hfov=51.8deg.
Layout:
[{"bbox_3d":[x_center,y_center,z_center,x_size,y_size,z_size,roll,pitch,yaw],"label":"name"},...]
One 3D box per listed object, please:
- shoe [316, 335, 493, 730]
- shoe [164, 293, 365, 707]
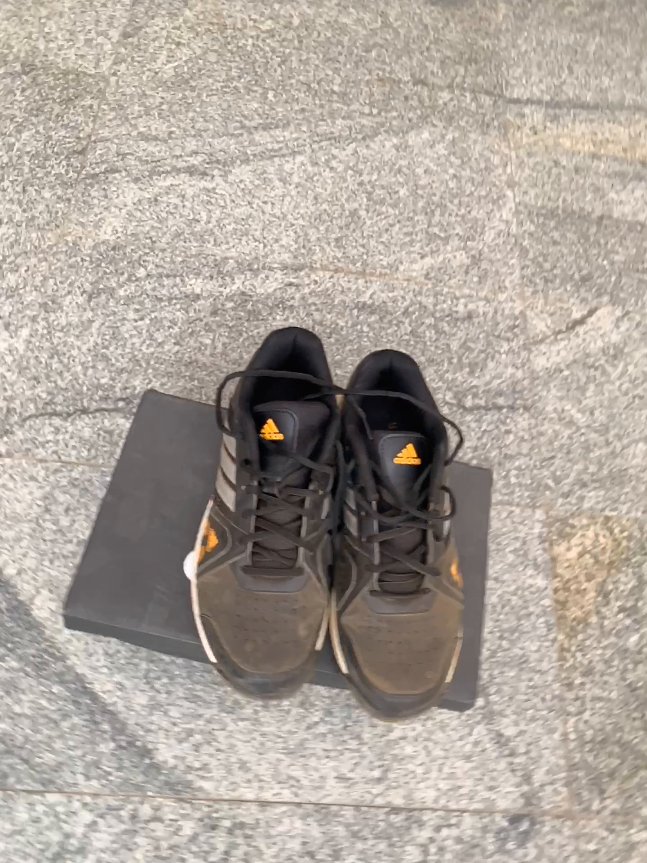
[{"bbox_3d":[0.051,0.073,0.537,0.110,0.090,0.301,0,64,-2],"label":"shoe"},{"bbox_3d":[-0.038,0.046,0.510,0.110,0.090,0.291,8,63,-6],"label":"shoe"}]
